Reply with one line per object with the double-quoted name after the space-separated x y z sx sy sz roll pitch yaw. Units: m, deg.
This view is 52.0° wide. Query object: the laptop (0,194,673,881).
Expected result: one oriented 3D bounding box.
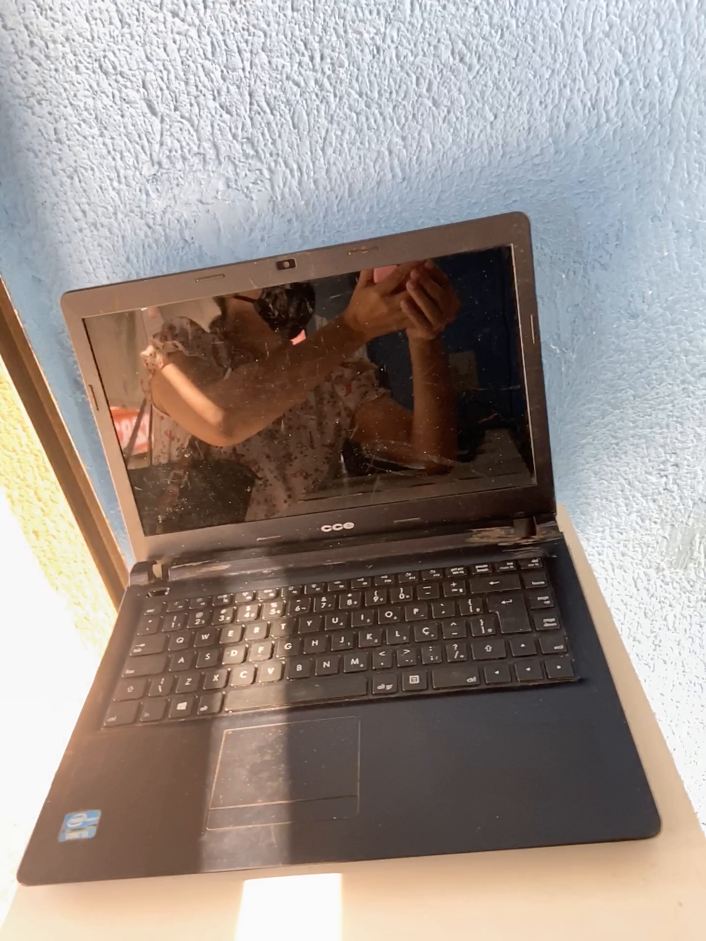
-0.033 0.015 0.444 0.333 0.211 0.314 -8 33 8 "laptop"
